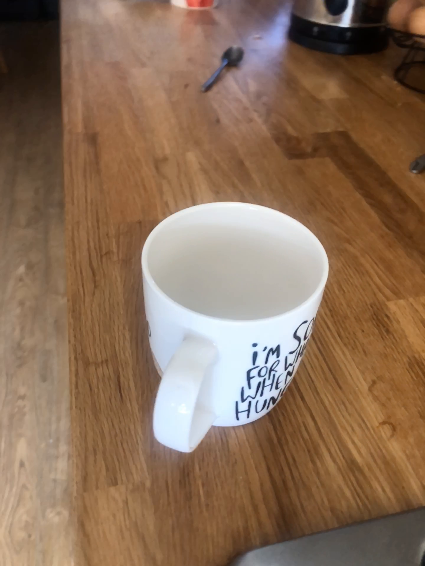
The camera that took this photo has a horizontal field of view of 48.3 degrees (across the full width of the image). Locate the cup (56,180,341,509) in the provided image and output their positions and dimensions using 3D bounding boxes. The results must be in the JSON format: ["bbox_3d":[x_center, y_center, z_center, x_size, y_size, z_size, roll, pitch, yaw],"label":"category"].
[{"bbox_3d":[0.001,0.024,0.237,0.090,0.087,0.115,15,44,13],"label":"cup"}]
